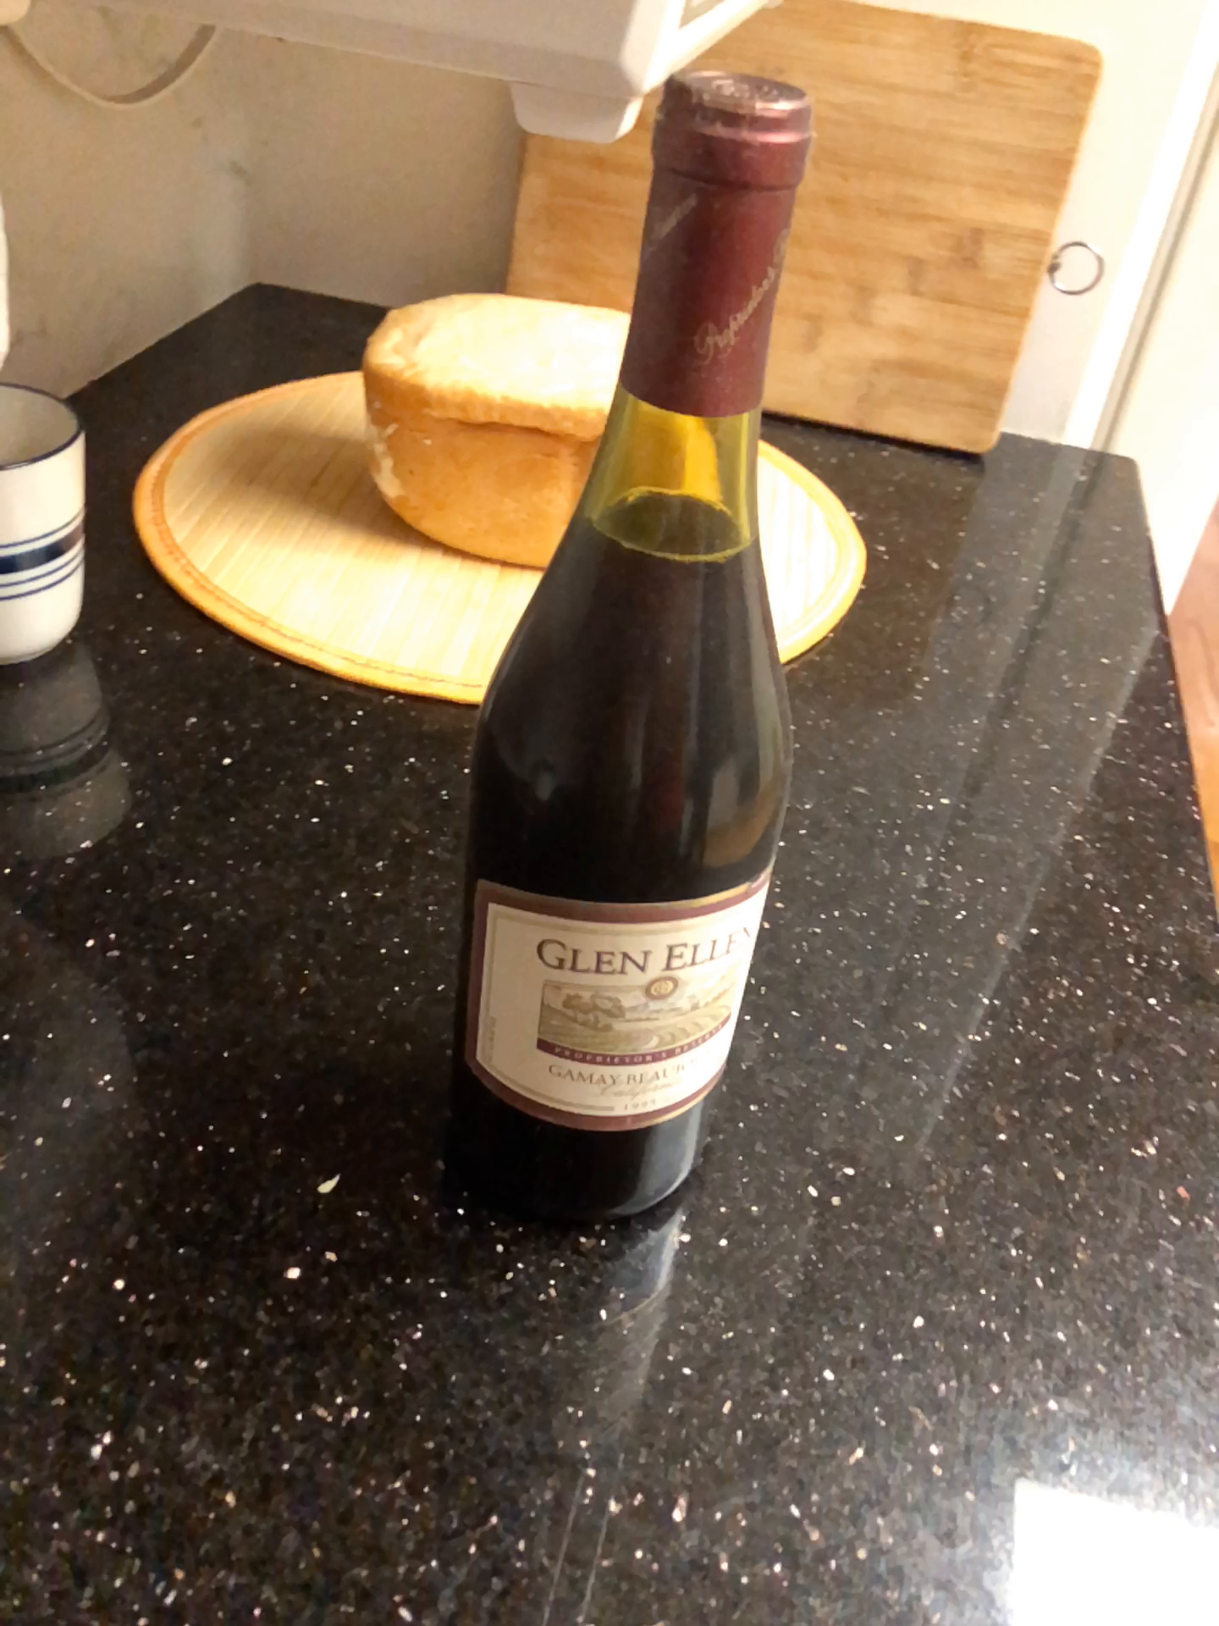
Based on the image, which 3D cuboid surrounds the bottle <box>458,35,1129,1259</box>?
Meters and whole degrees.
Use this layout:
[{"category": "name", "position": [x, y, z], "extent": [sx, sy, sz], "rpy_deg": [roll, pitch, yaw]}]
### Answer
[{"category": "bottle", "position": [0.017, -0.015, 0.332], "extent": [0.090, 0.288, 0.091], "rpy_deg": [5, 38, -4]}]
